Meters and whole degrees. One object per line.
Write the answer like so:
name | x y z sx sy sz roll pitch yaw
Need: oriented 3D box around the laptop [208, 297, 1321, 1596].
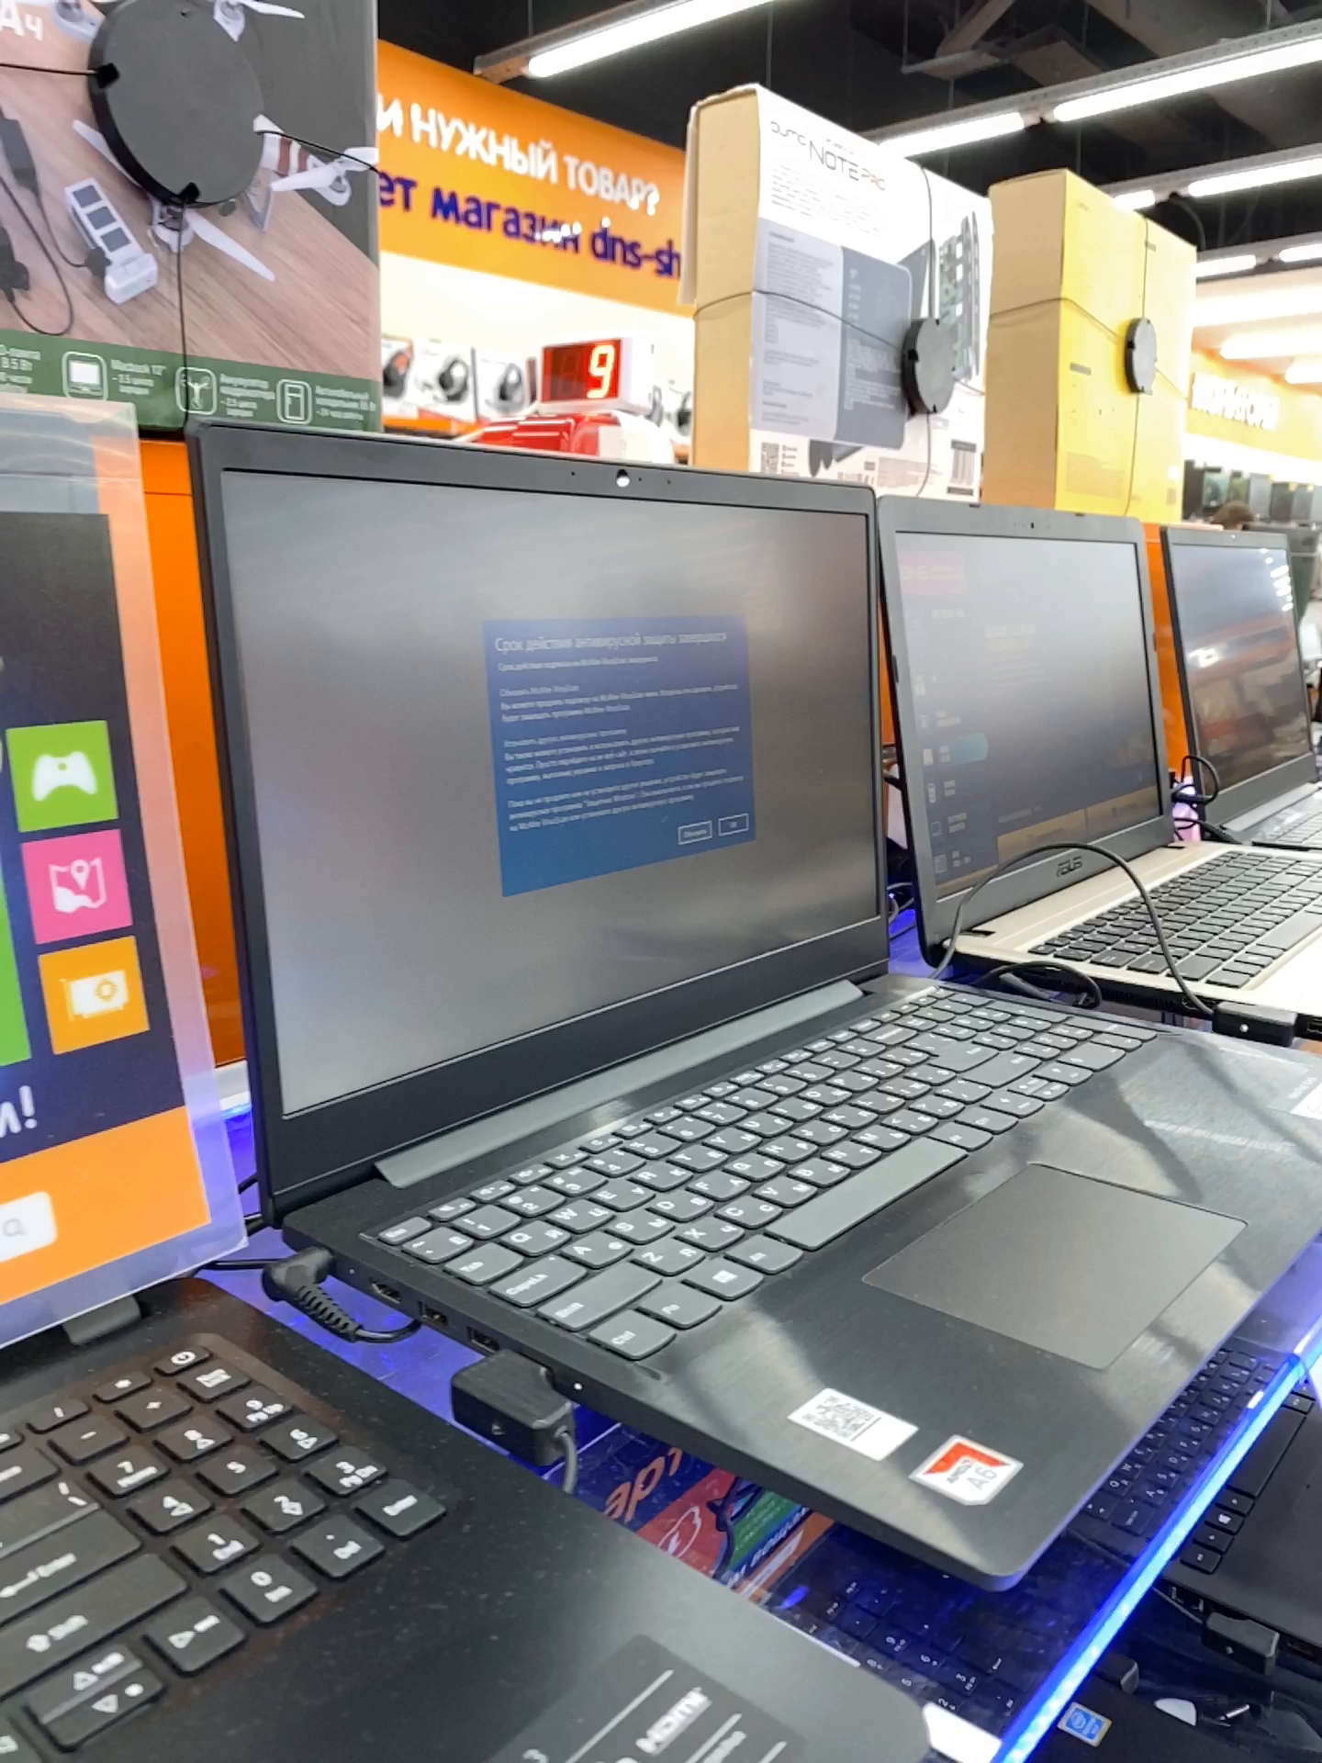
laptop | 0.087 -0.026 0.466 0.273 0.240 0.361 10 15 41
